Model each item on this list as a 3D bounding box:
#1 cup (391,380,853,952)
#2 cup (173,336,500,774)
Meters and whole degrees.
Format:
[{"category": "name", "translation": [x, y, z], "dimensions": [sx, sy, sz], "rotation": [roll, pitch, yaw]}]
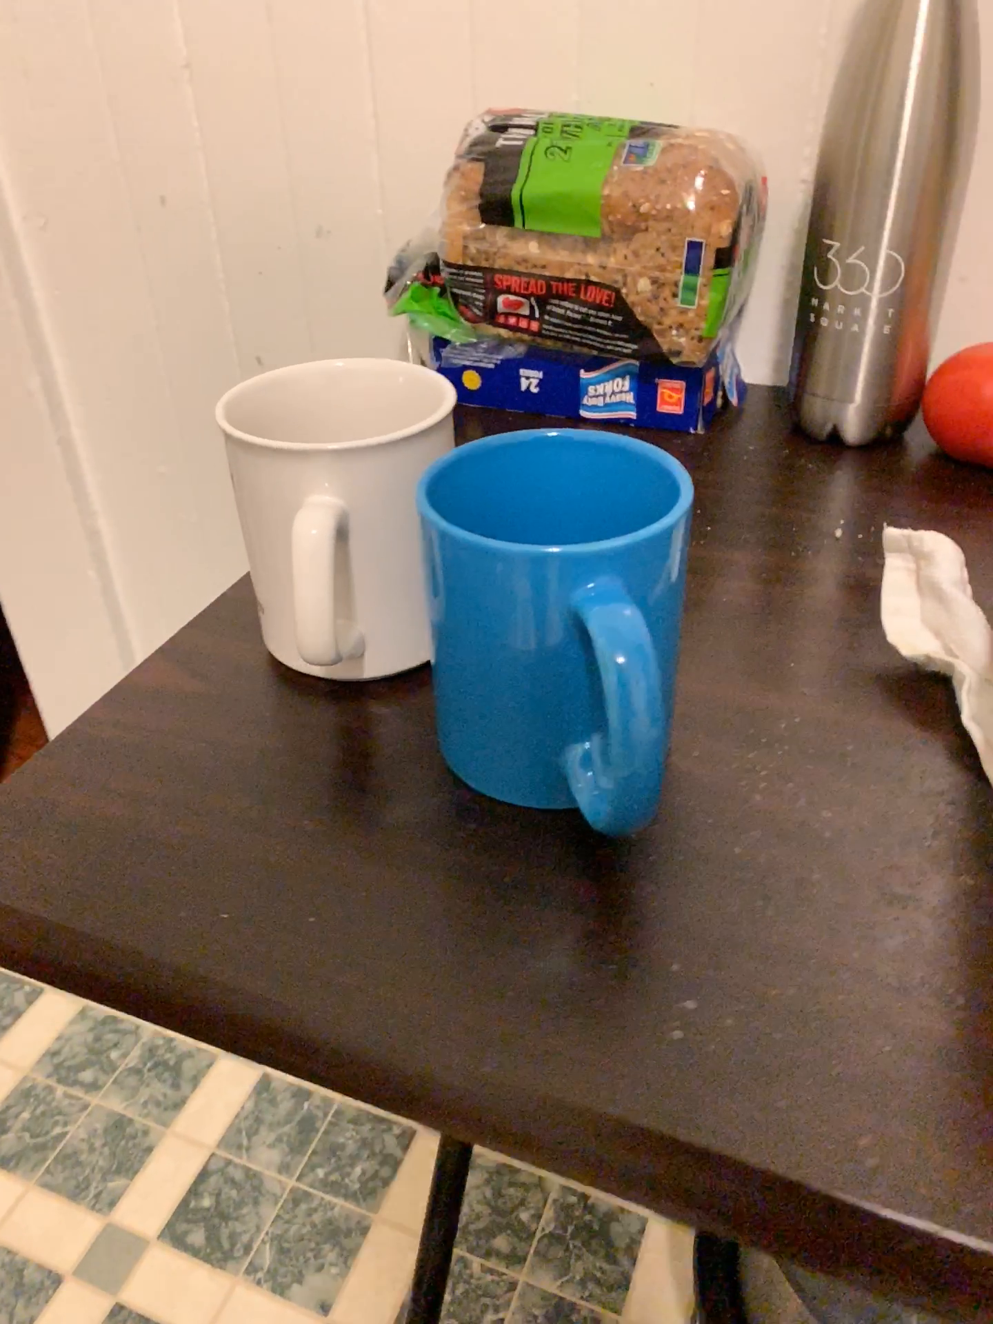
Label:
[{"category": "cup", "translation": [0.024, -0.008, 0.309], "dimensions": [0.090, 0.099, 0.141], "rotation": [-7, 36, -8]}, {"category": "cup", "translation": [-0.055, -0.045, 0.372], "dimensions": [0.090, 0.099, 0.131], "rotation": [-6, 36, -6]}]
